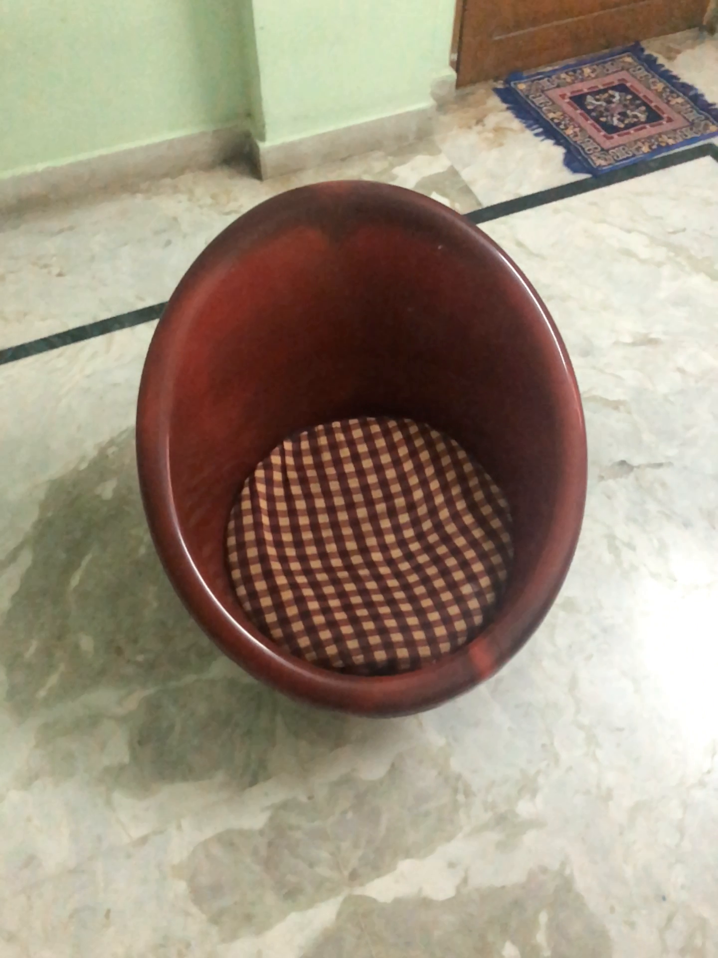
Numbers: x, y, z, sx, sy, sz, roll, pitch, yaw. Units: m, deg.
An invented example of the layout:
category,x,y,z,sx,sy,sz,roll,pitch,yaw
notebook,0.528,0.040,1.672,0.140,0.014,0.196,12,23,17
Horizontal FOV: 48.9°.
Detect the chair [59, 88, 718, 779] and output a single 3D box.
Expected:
category,x,y,z,sx,sy,sz,roll,pitch,yaw
chair,0.026,-0.054,1.073,0.670,0.547,0.633,-11,58,-7
